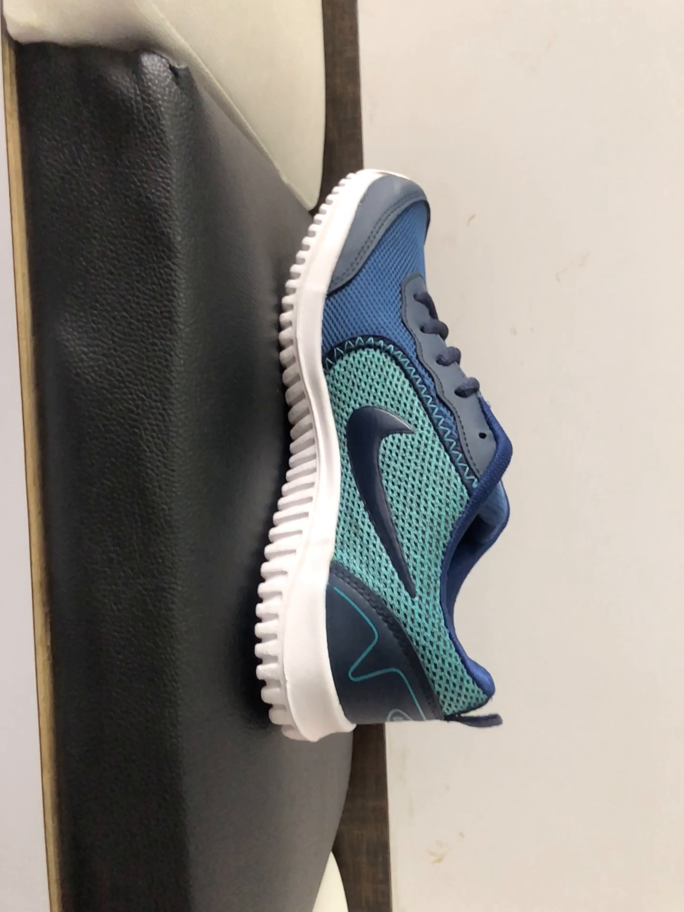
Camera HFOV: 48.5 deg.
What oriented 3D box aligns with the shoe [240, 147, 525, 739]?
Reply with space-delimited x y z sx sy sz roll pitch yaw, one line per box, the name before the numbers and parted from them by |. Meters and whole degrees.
shoe | 0.027 -0.004 0.379 0.130 0.100 0.260 72 19 -63
